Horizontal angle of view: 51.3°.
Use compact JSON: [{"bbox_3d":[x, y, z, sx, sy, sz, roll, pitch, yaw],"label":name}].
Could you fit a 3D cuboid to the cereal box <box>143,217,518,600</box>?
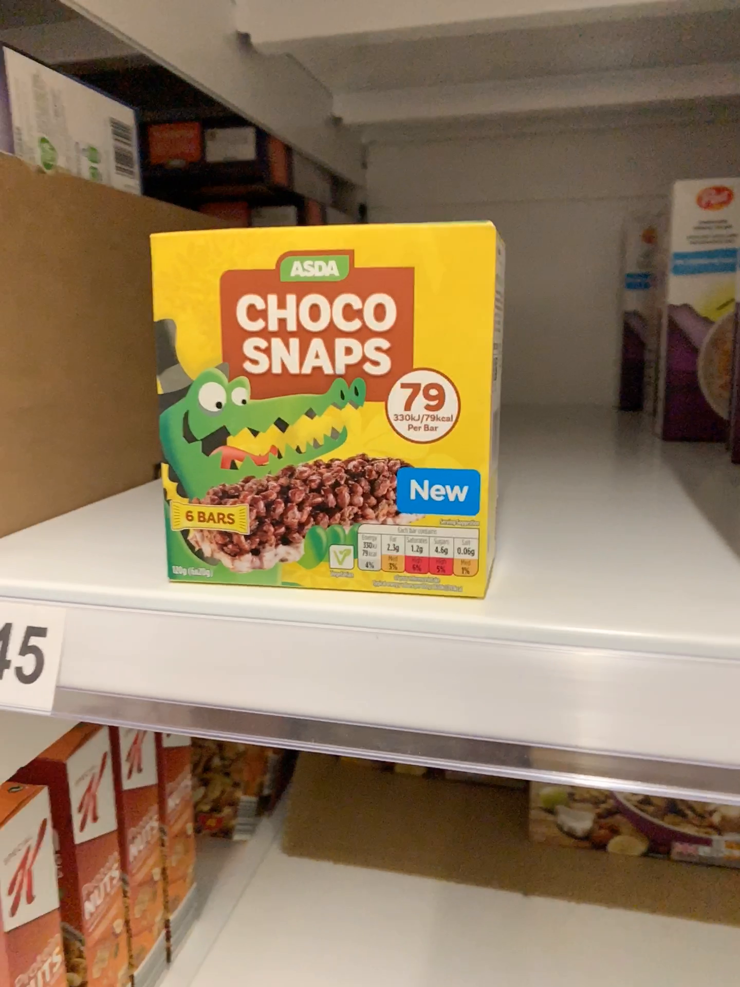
[{"bbox_3d":[-0.009,-0.035,0.306,0.130,0.129,0.070,2,12,11],"label":"cereal box"}]
